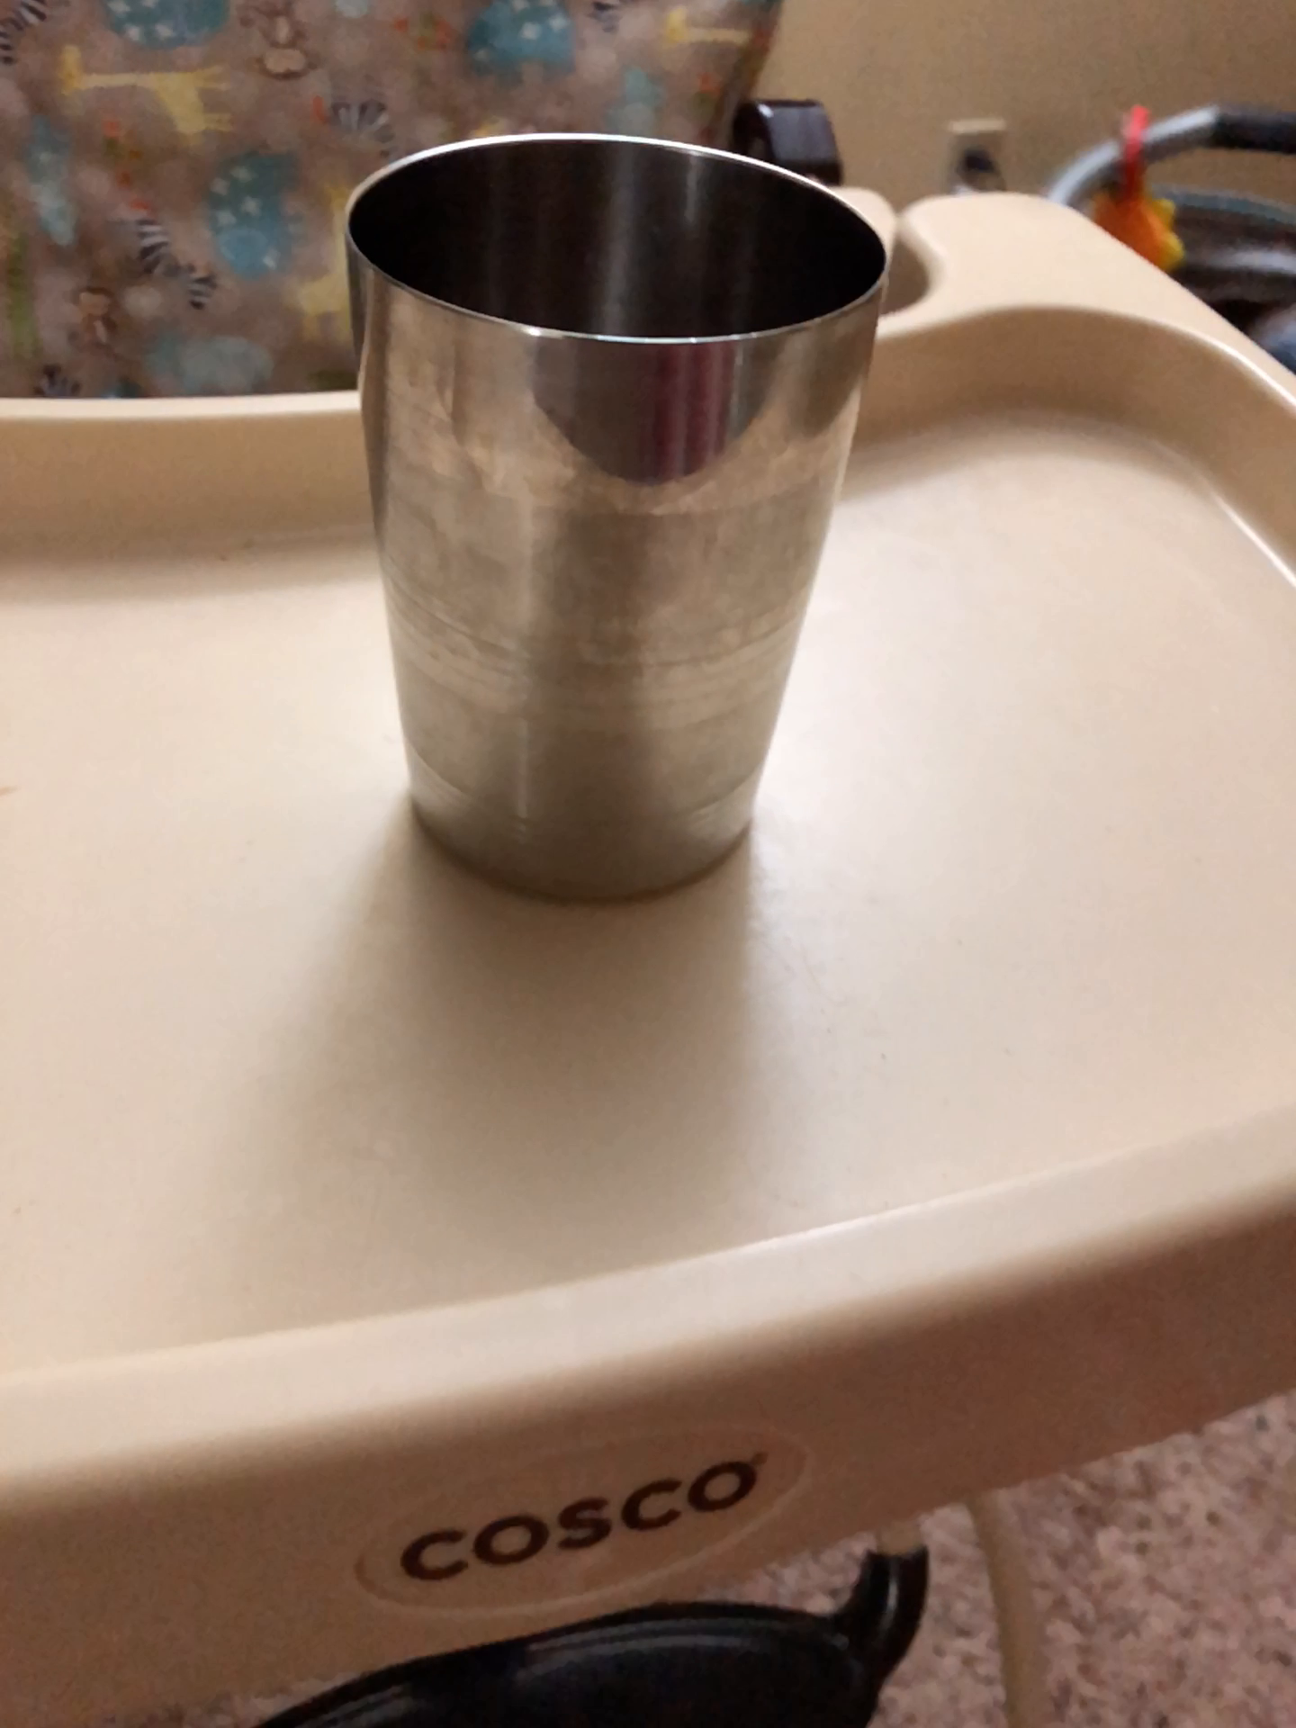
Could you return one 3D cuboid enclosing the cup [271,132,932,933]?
[{"bbox_3d":[-0.013,-0.051,0.222,0.073,0.090,0.073,3,45,-3],"label":"cup"}]
